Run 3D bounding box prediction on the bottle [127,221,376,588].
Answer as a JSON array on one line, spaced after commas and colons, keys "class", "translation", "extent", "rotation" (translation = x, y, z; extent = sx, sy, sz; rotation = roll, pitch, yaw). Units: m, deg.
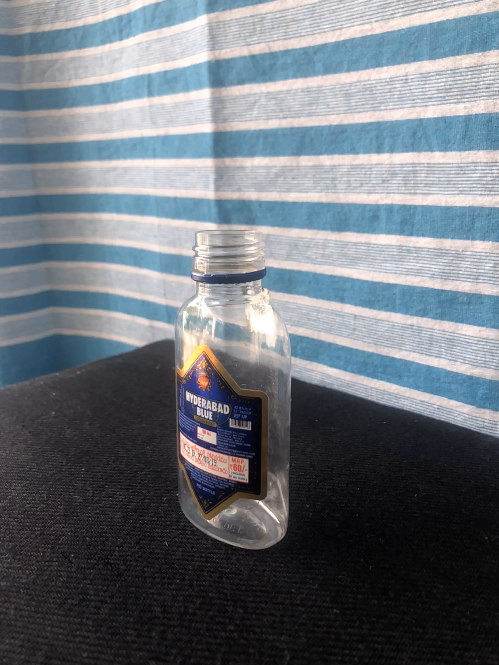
[{"class": "bottle", "translation": [0.001, 0.017, 0.190], "extent": [0.060, 0.100, 0.050], "rotation": [15, 24, 40]}]
